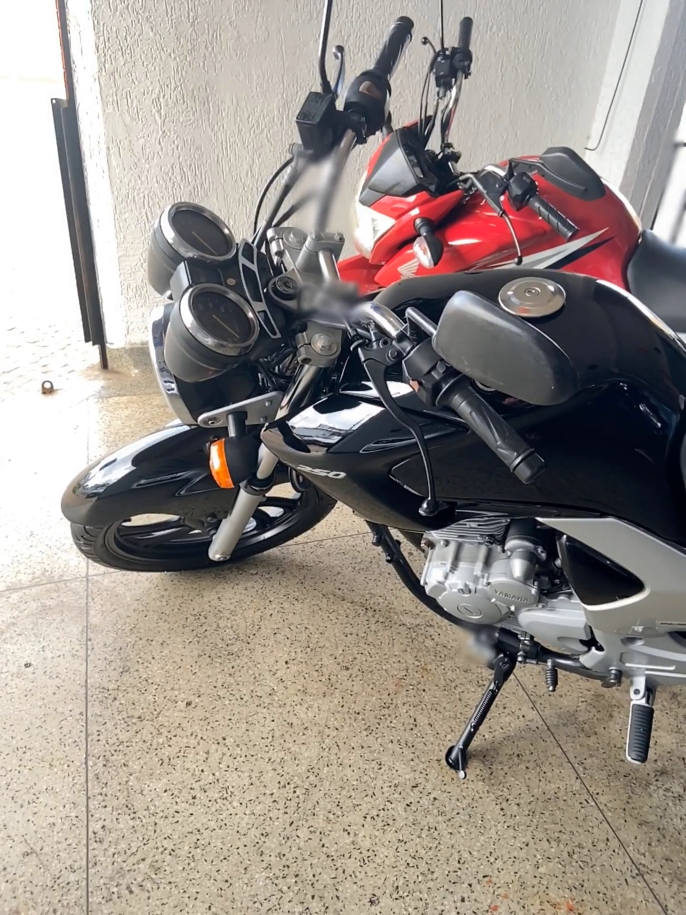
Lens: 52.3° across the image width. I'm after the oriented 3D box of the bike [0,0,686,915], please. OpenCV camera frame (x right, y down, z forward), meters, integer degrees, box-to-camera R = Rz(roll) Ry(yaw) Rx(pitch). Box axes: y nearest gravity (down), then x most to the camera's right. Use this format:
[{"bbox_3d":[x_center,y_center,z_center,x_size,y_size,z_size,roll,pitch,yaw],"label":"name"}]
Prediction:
[{"bbox_3d":[0.451,0.109,1.189,1.877,1.511,0.848,9,32,3],"label":"bike"}]
